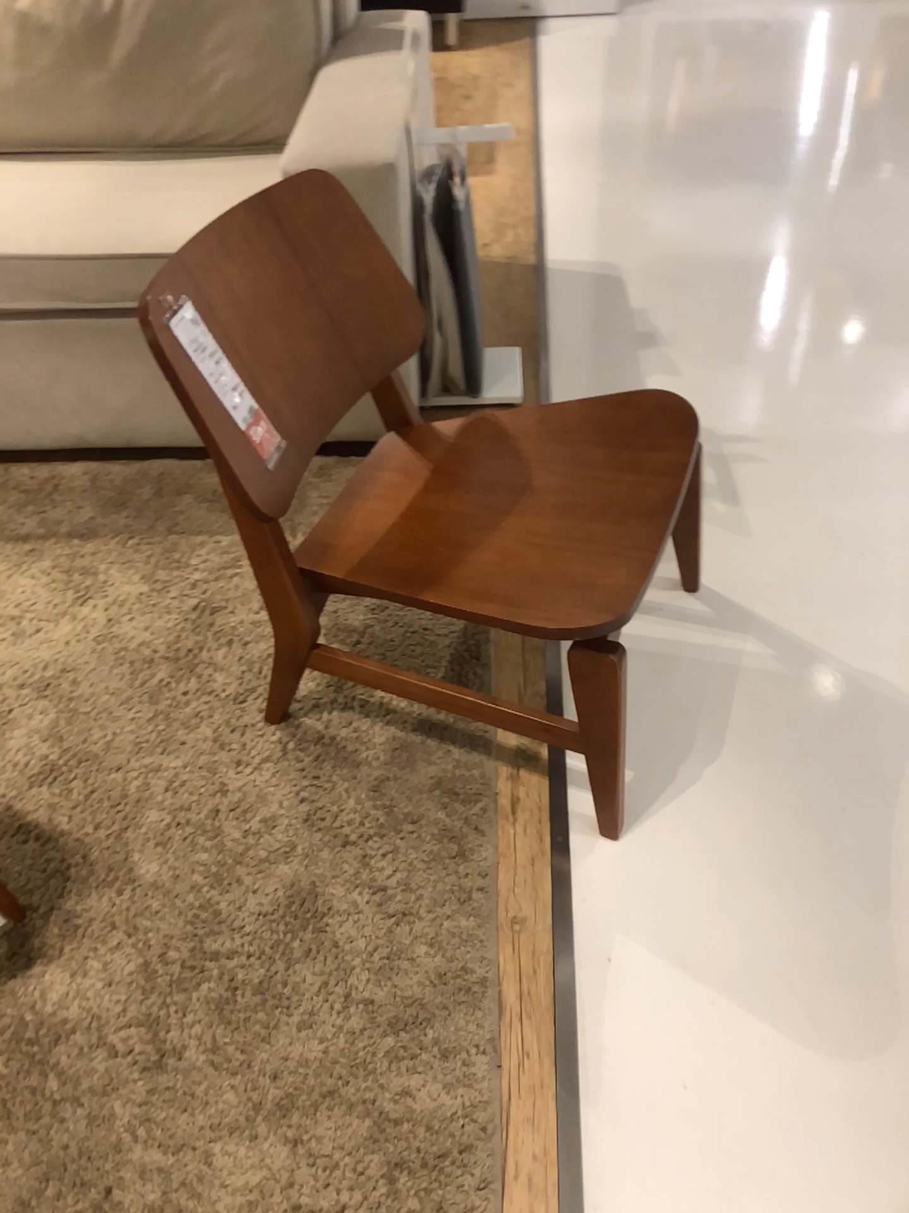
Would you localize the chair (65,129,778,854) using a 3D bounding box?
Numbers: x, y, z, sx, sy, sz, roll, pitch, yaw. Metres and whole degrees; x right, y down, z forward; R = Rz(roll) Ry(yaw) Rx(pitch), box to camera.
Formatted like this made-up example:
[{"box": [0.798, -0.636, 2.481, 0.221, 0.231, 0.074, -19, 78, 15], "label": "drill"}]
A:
[{"box": [0.015, -0.179, 1.350, 0.630, 0.655, 0.584, 13, 46, 17], "label": "chair"}]
